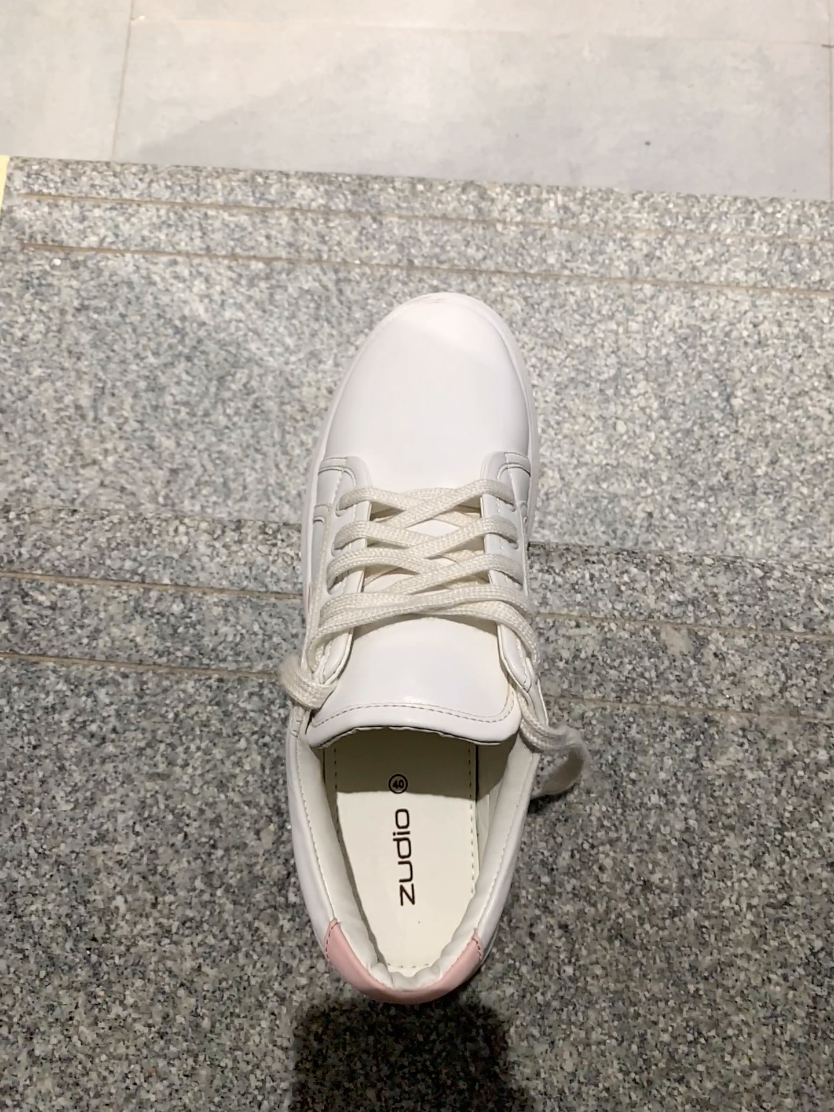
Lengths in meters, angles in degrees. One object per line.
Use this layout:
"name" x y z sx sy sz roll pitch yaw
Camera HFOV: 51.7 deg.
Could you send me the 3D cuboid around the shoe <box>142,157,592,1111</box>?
"shoe" -0.007 0.028 0.304 0.110 0.110 0.290 3 82 3
